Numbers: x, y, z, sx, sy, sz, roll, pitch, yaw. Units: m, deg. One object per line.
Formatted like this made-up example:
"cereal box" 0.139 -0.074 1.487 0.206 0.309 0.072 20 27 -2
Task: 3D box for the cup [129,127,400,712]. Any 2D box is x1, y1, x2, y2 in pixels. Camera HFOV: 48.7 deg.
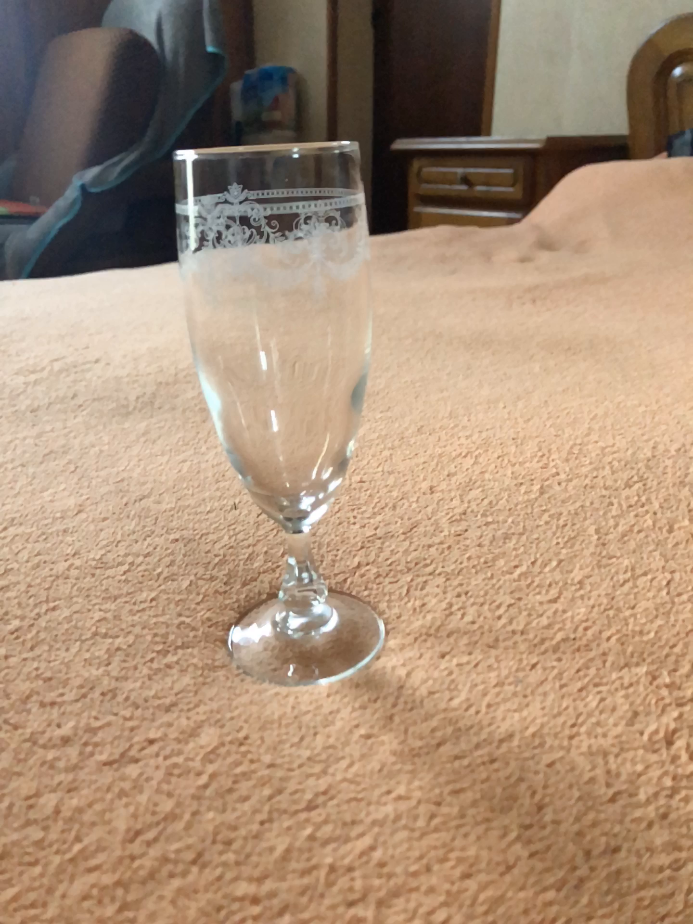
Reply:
"cup" -0.016 -0.012 0.228 0.060 0.159 0.060 0 22 0
